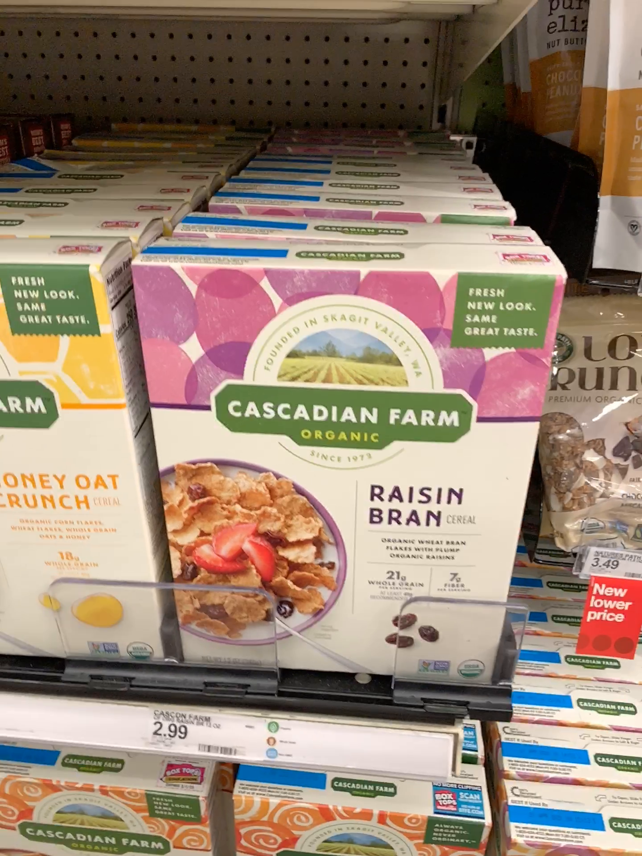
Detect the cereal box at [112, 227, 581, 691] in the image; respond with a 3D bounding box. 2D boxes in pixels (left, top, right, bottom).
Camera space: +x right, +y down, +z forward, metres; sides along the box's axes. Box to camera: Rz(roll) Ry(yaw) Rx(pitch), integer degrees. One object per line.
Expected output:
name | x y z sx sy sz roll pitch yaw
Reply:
cereal box | 0.009 0.033 0.373 0.200 0.268 0.050 3 31 3
